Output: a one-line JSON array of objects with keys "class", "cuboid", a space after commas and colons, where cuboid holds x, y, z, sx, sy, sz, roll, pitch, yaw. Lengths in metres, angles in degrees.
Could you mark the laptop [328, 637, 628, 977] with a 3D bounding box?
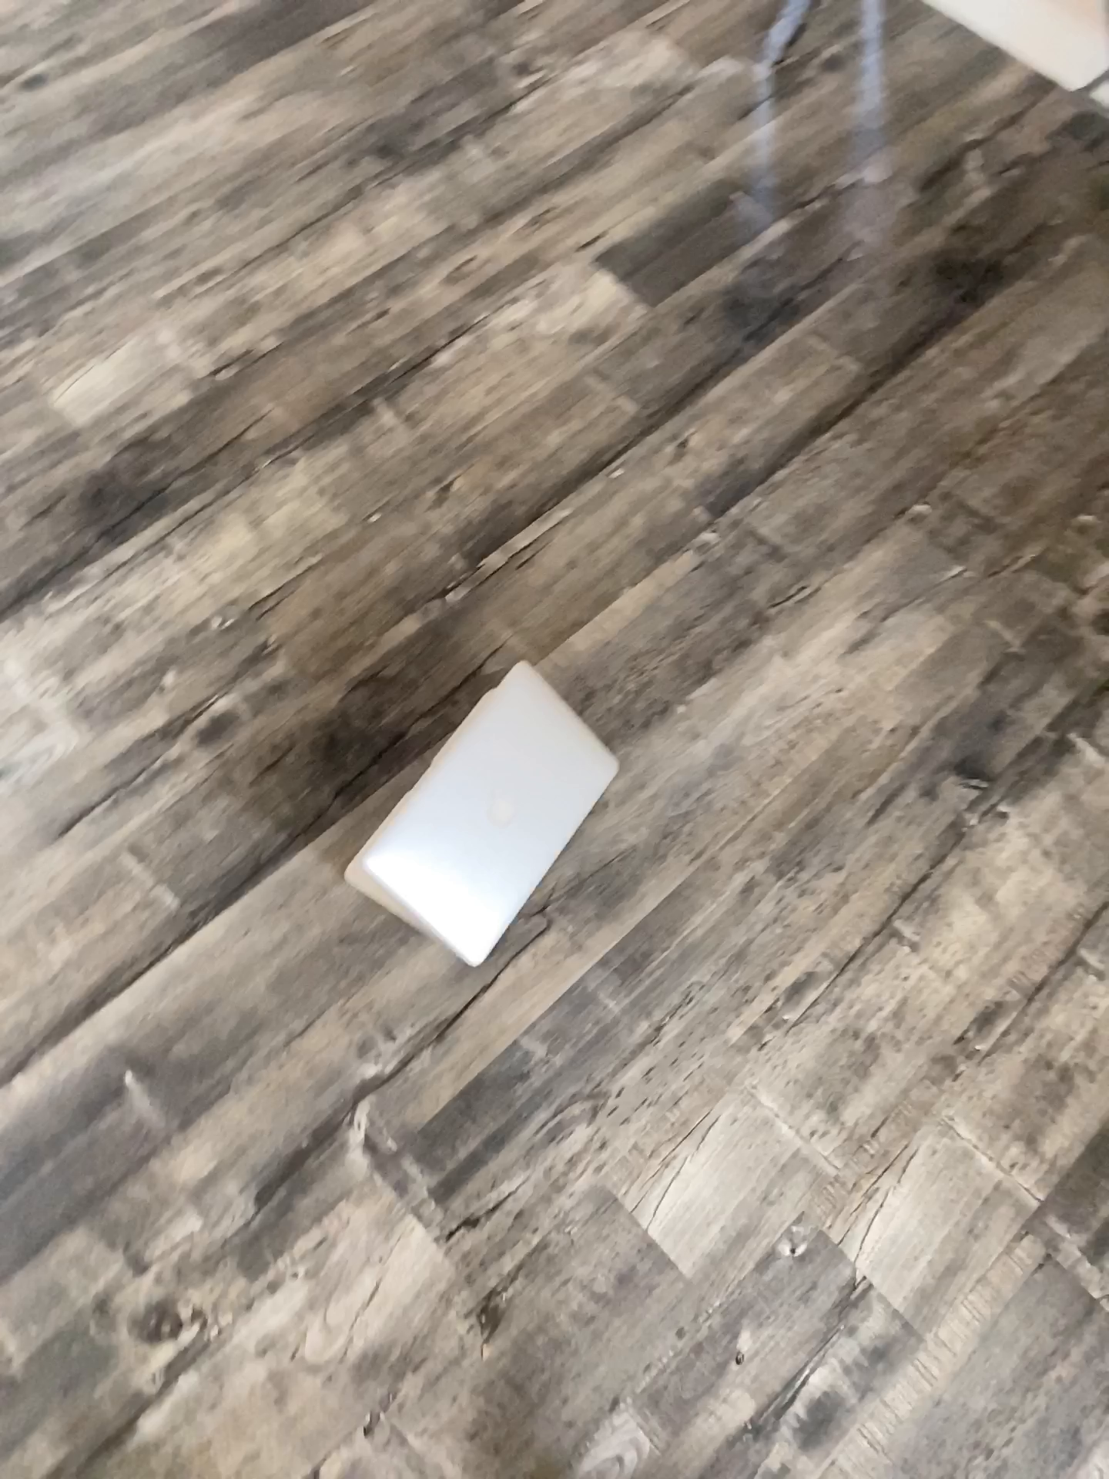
[{"class": "laptop", "cuboid": [-0.073, 0.067, 1.157, 0.172, 0.113, 0.270, 32, 69, 12]}]
